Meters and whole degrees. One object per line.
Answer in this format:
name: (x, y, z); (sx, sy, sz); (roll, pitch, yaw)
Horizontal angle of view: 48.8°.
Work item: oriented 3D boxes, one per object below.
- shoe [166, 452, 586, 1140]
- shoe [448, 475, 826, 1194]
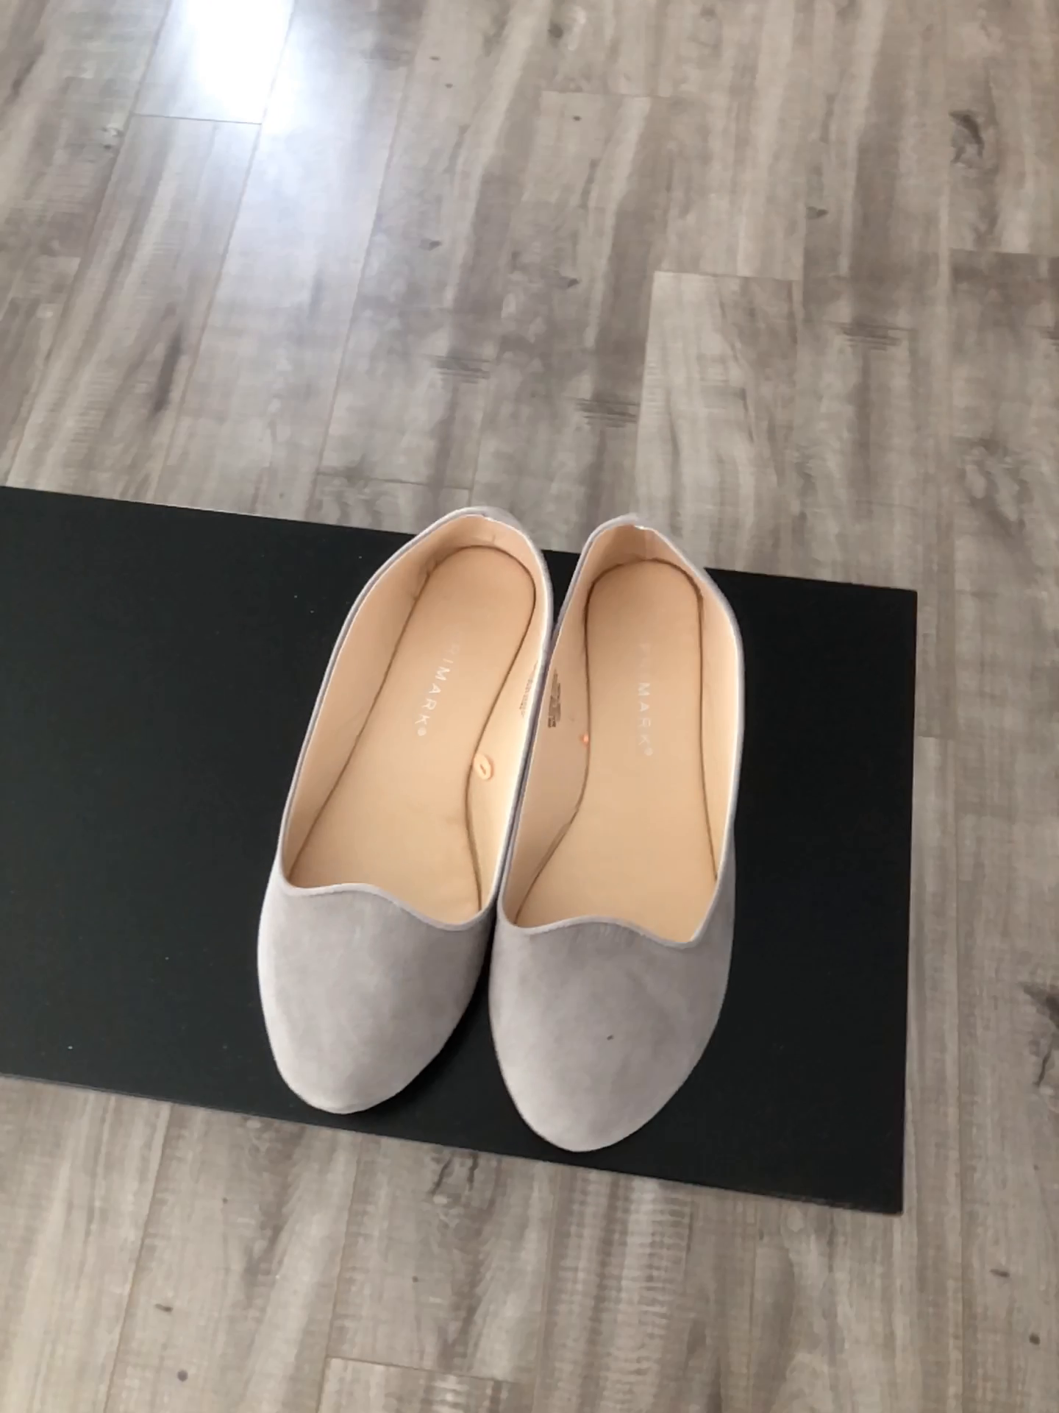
shoe: (-0.048, 0.028, 0.459); (0.100, 0.060, 0.250); (9, 68, 5)
shoe: (0.047, 0.041, 0.451); (0.100, 0.060, 0.256); (9, 68, 5)
